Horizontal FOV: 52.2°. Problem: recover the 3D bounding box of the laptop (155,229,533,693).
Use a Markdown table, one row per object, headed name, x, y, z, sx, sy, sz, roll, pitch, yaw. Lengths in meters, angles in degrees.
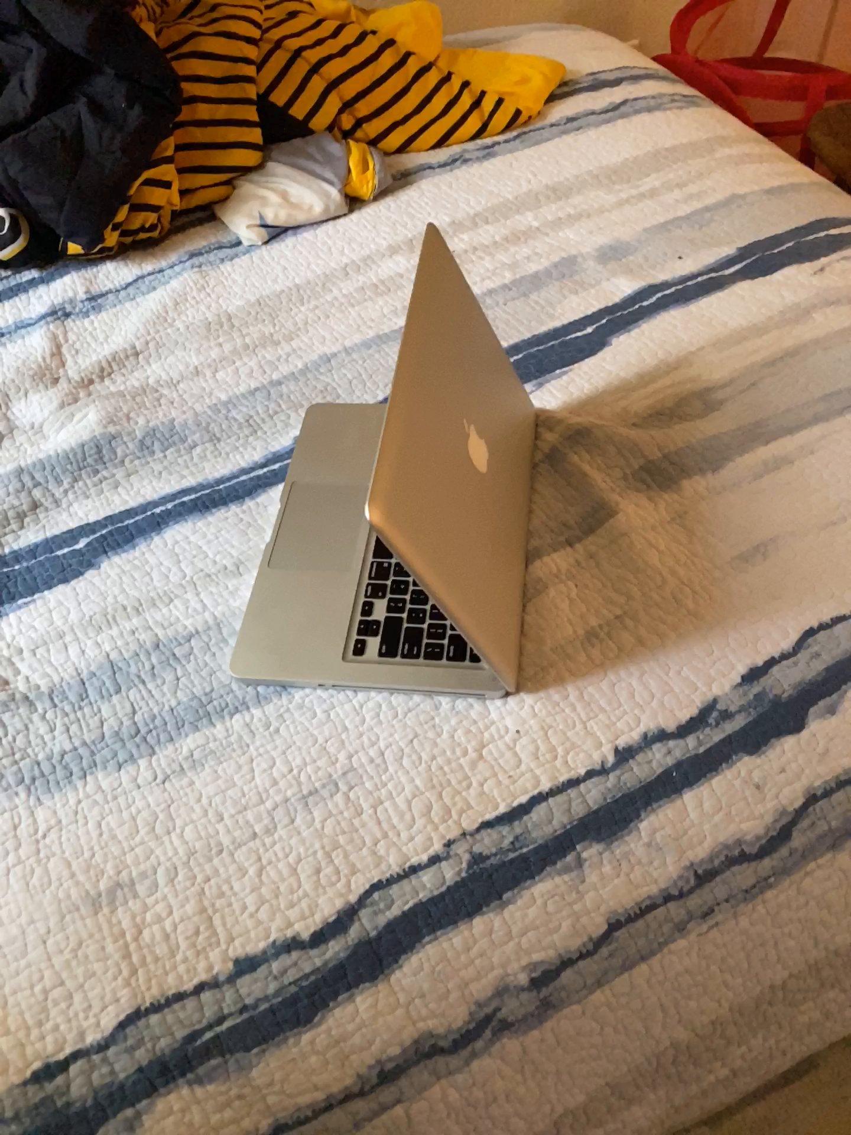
| name | x | y | z | sx | sy | sz | roll | pitch | yaw |
| --- | --- | --- | --- | --- | --- | --- | --- | --- | --- |
| laptop | -0.035 | -0.094 | 0.693 | 0.220 | 0.191 | 0.316 | 3 | 52 | 9 |
